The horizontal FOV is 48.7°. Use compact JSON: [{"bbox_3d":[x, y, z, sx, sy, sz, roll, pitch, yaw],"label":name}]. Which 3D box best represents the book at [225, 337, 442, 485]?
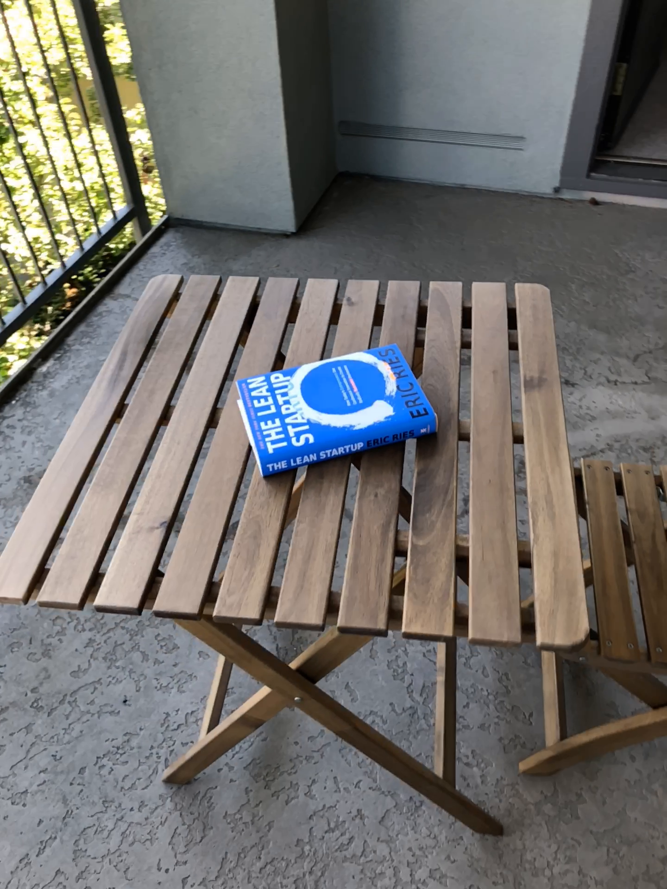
[{"bbox_3d":[-0.005,-0.048,0.913,0.230,0.040,0.161,-13,46,-9],"label":"book"}]
